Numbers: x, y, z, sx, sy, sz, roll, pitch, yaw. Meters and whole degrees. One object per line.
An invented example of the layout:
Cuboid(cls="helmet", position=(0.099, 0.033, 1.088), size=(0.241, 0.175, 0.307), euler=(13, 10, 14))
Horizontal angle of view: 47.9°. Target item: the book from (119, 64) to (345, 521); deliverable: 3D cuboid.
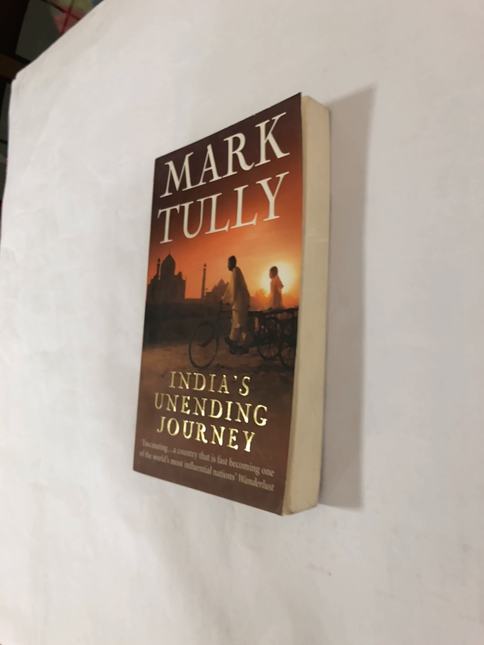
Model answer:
Cuboid(cls="book", position=(-0.010, -0.014, 0.303), size=(0.131, 0.030, 0.210), euler=(-3, 81, 44))
